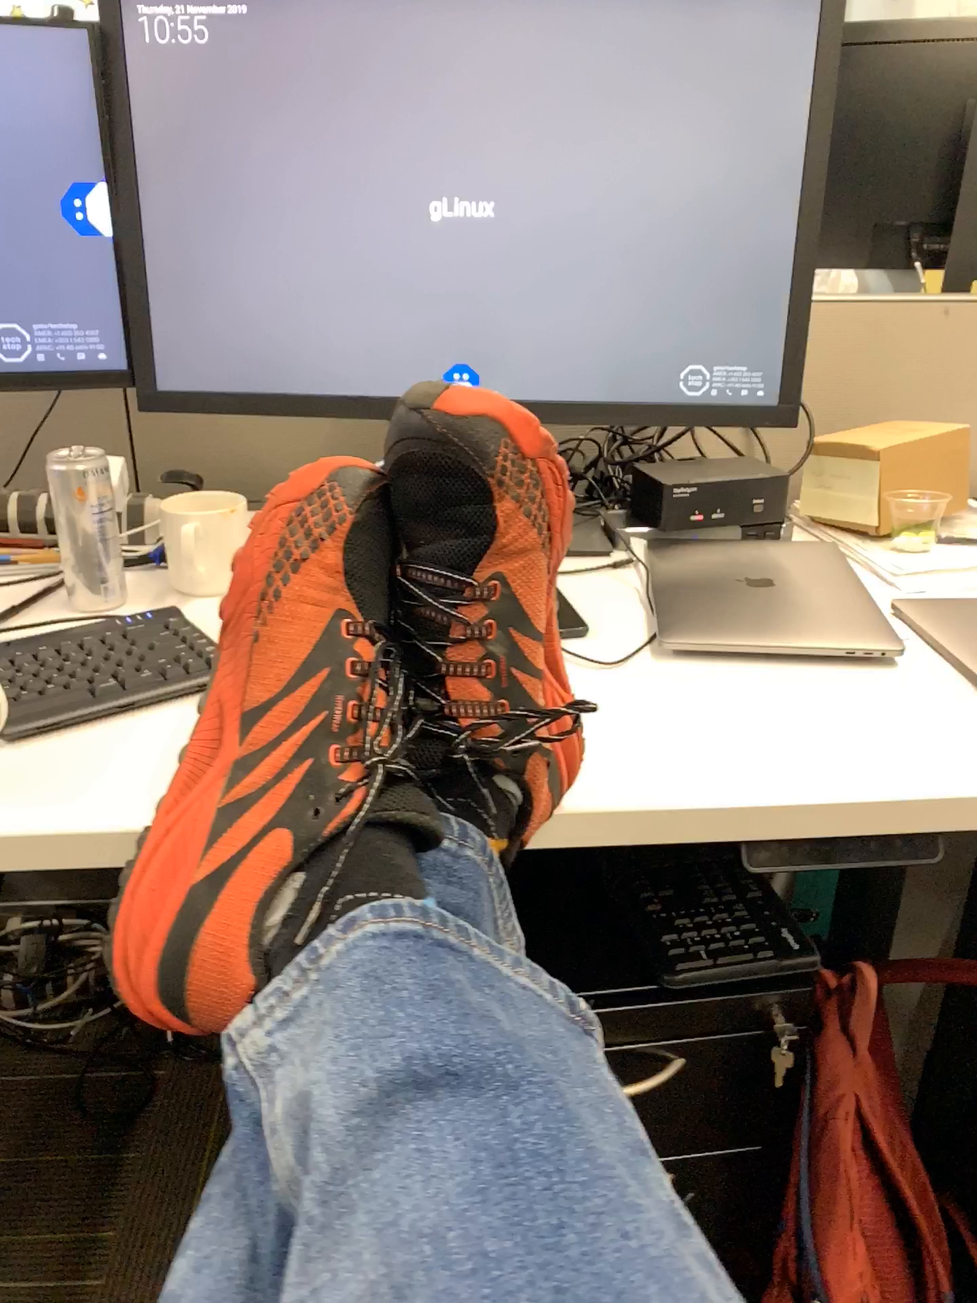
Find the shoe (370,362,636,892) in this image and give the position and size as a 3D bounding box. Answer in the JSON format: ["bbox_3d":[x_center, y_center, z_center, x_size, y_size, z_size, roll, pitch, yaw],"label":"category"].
[{"bbox_3d":[0.016,-0.015,0.559,0.107,0.271,0.083,8,26,26],"label":"shoe"}]

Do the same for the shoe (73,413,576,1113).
[{"bbox_3d":[-0.072,0.042,0.485,0.133,0.289,0.091,12,-10,29],"label":"shoe"}]
